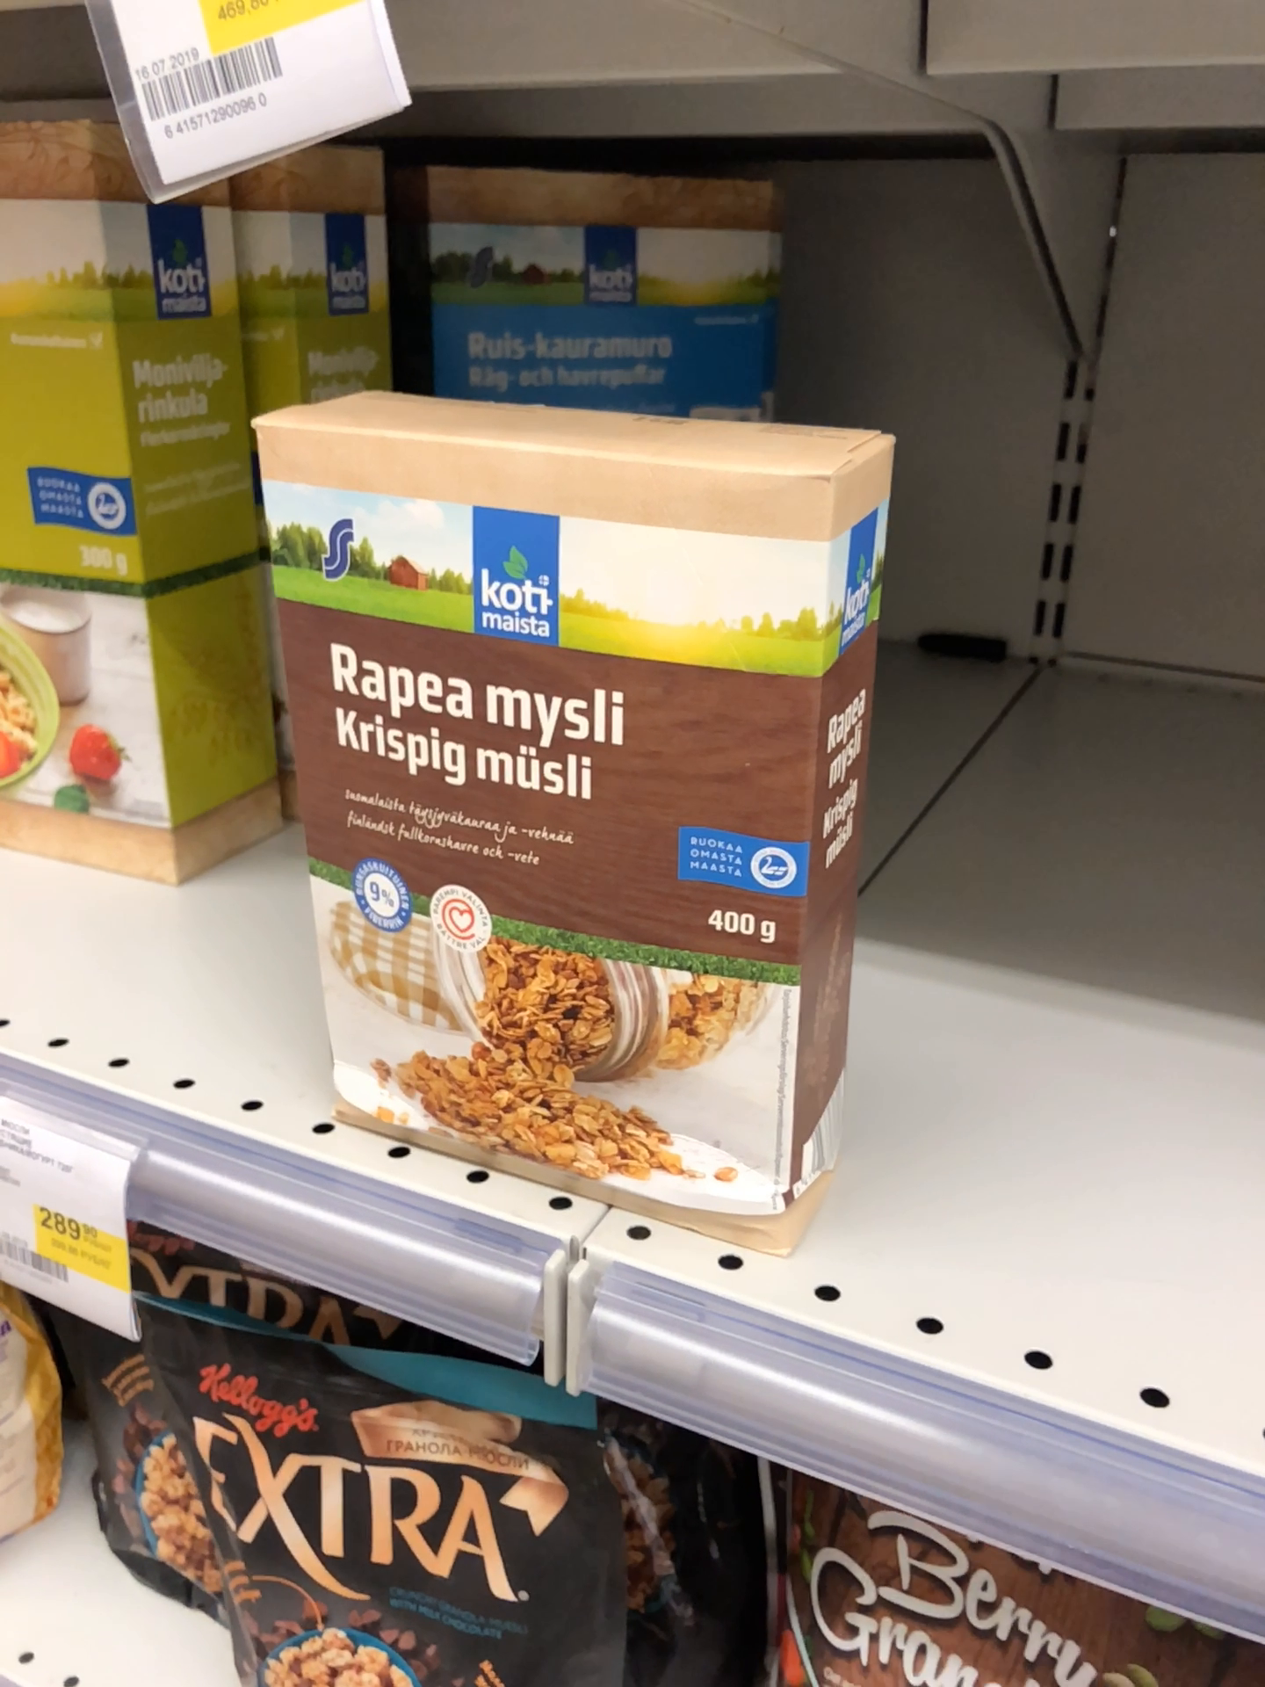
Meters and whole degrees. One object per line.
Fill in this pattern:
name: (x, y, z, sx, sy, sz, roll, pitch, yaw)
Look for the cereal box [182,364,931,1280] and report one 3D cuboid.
cereal box: (-0.018, -0.008, 0.333, 0.150, 0.189, 0.050, 11, 27, 22)
